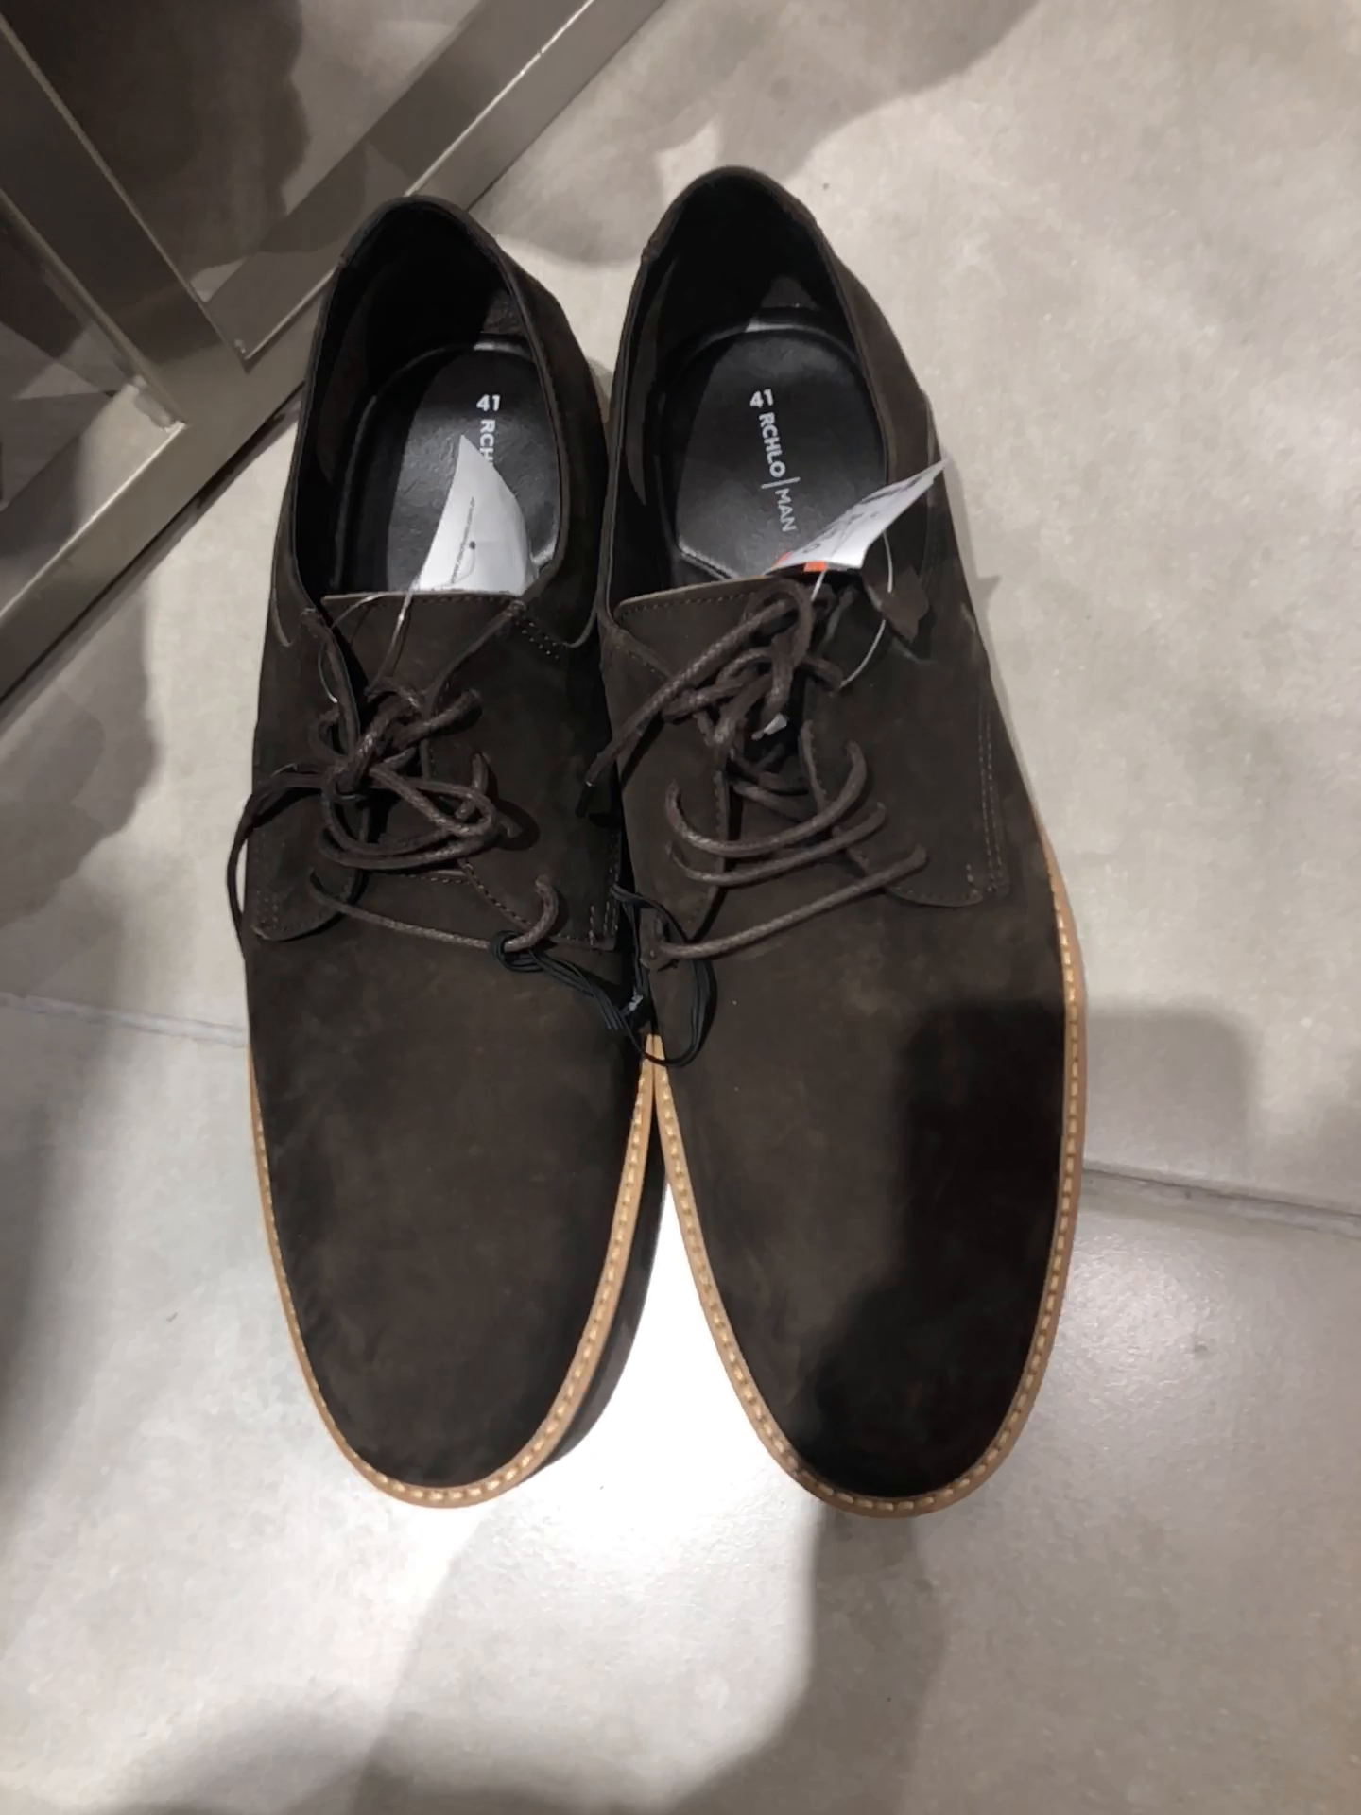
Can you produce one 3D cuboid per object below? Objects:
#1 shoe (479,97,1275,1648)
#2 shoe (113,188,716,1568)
[{"bbox_3d":[0.037,-0.009,0.355,0.110,0.120,0.300,-9,78,5],"label":"shoe"},{"bbox_3d":[-0.053,-0.007,0.384,0.110,0.120,0.300,-2,79,7],"label":"shoe"}]
